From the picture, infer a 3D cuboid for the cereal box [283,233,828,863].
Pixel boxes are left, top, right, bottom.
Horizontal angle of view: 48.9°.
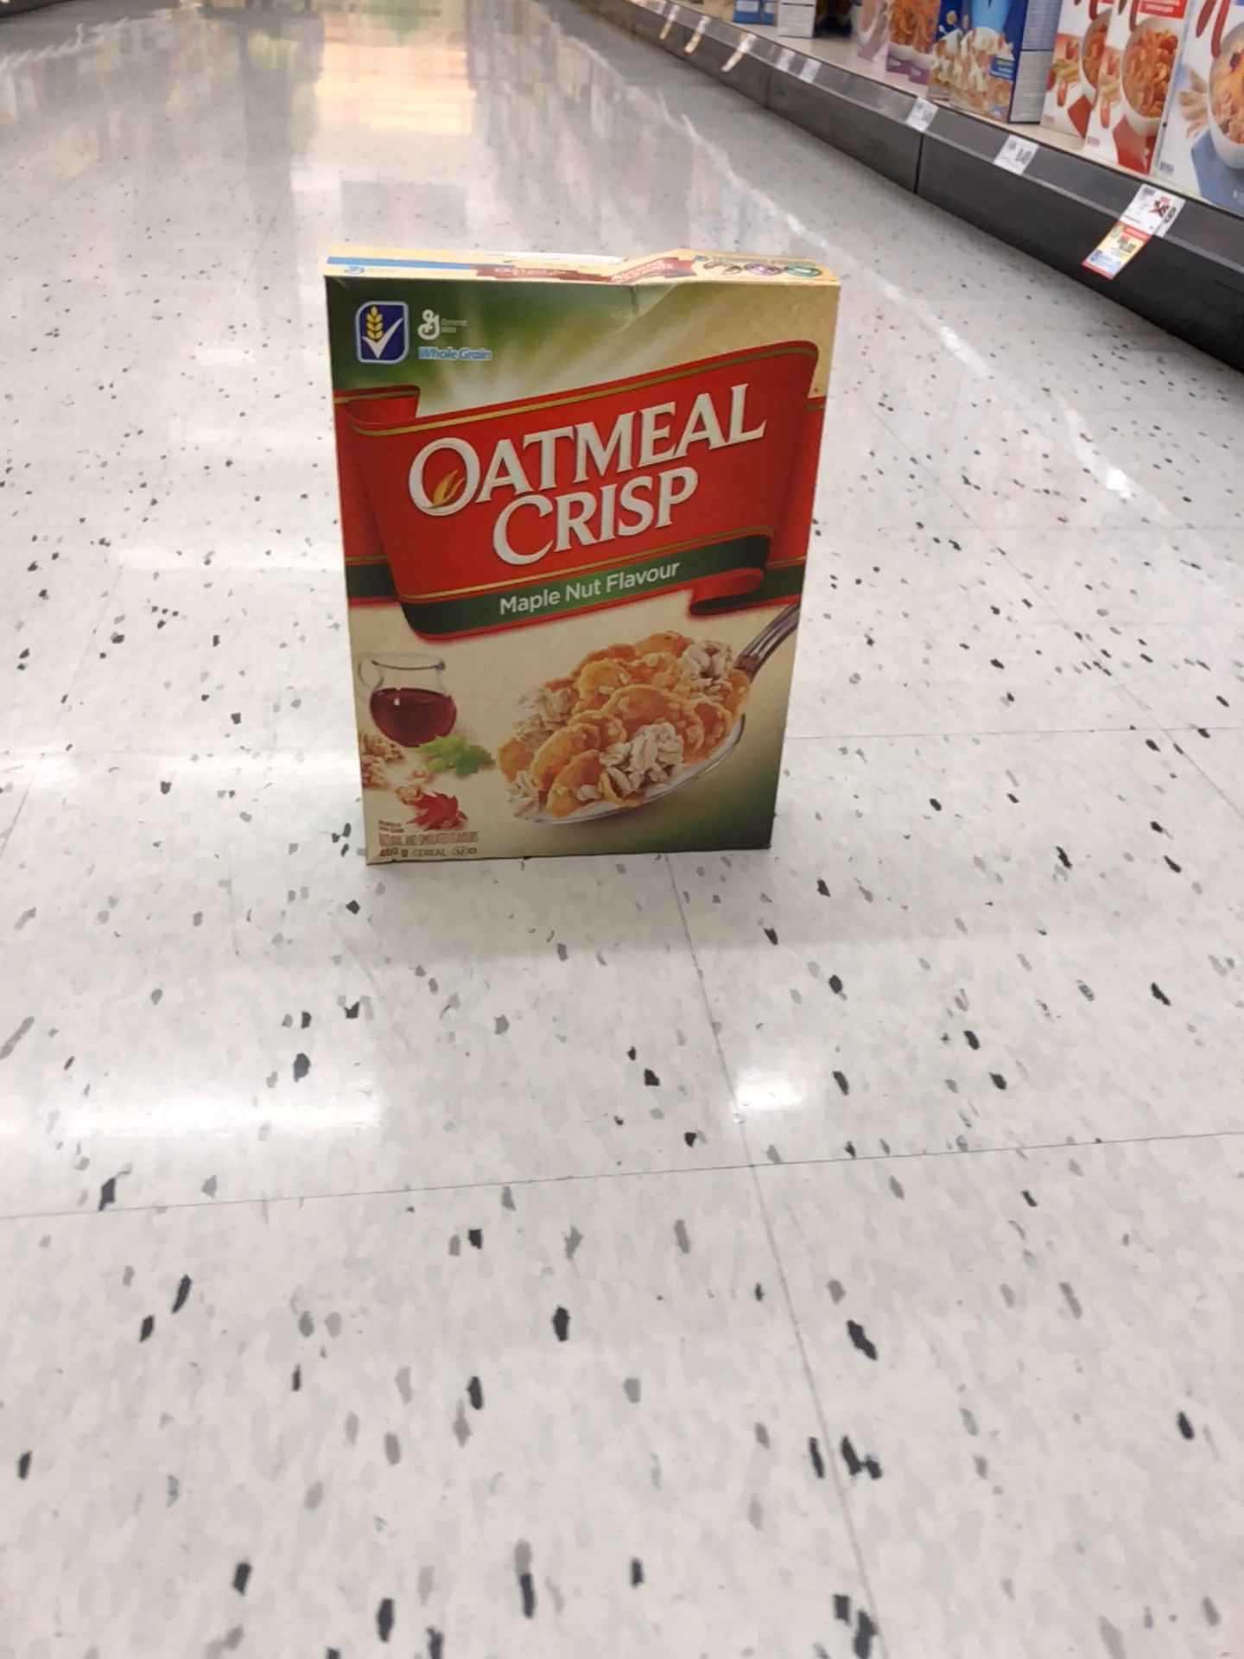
[{"bbox_3d":[-0.032,-0.111,0.590,0.200,0.258,0.050,-2,33,-9],"label":"cereal box"}]
